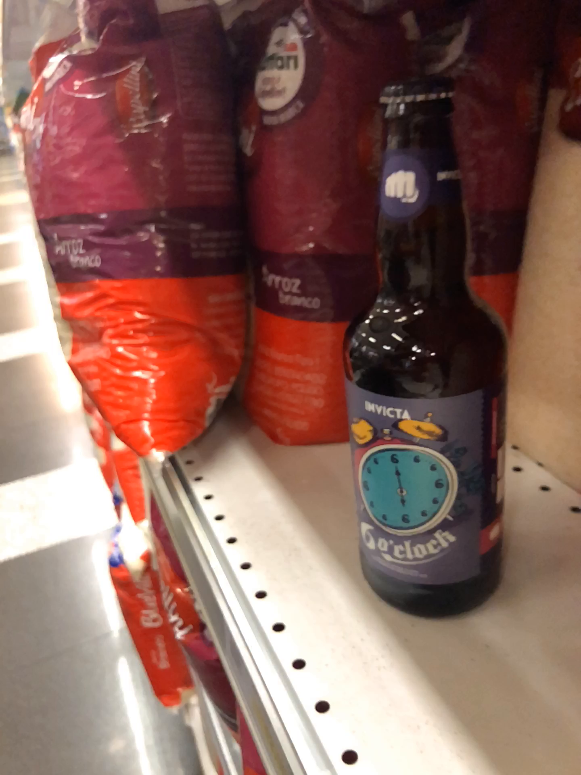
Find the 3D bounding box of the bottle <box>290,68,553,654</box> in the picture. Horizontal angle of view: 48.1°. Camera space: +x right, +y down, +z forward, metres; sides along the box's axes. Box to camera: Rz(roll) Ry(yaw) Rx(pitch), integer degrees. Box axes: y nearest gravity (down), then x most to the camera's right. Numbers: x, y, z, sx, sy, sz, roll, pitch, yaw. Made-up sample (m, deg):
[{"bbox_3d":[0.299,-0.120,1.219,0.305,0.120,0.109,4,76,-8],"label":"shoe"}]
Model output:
[{"bbox_3d":[0.061,-0.006,0.282,0.070,0.228,0.070,-6,25,3],"label":"bottle"}]
